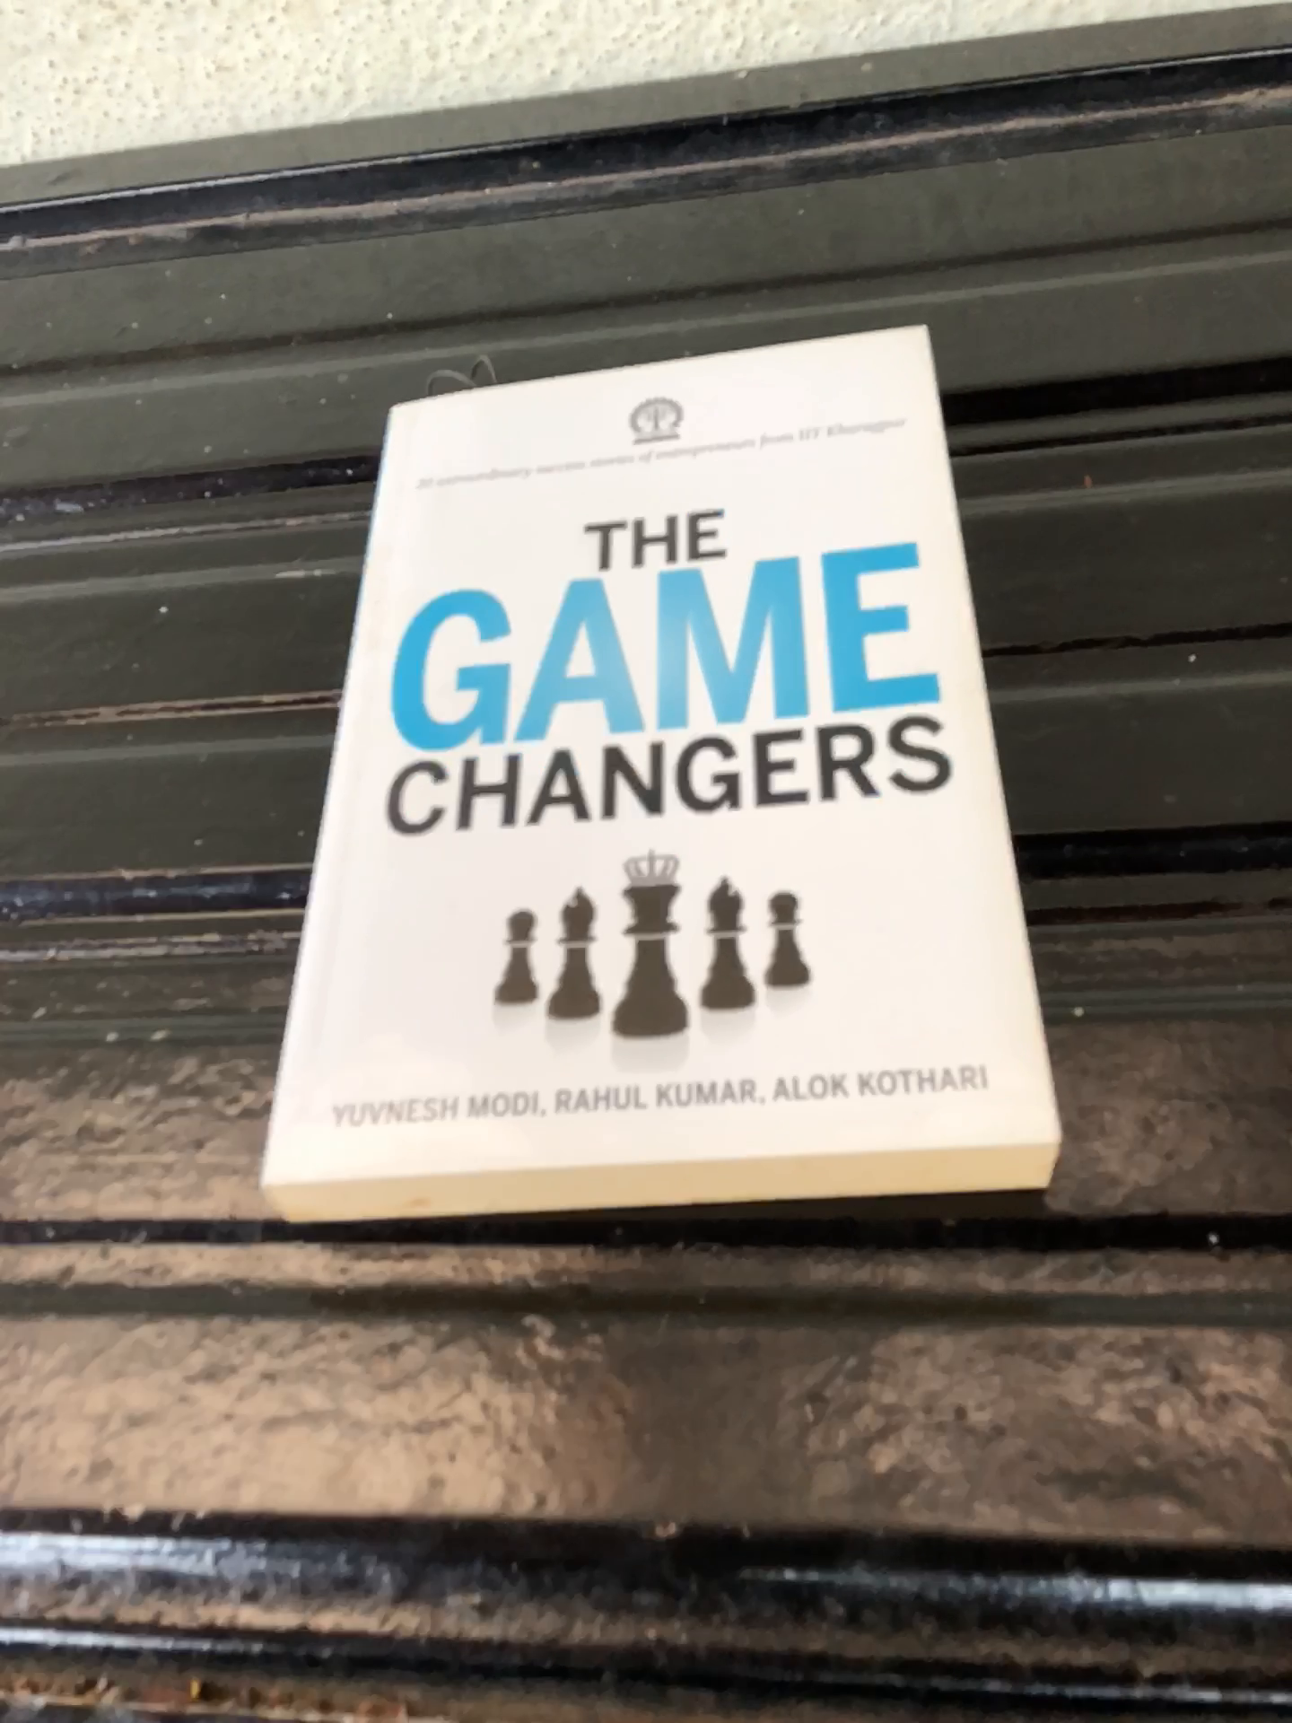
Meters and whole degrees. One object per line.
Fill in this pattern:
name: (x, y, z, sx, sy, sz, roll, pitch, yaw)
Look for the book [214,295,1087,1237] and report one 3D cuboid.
book: (0.001, -0.029, 0.273, 0.130, 0.030, 0.190, -4, 57, 8)
